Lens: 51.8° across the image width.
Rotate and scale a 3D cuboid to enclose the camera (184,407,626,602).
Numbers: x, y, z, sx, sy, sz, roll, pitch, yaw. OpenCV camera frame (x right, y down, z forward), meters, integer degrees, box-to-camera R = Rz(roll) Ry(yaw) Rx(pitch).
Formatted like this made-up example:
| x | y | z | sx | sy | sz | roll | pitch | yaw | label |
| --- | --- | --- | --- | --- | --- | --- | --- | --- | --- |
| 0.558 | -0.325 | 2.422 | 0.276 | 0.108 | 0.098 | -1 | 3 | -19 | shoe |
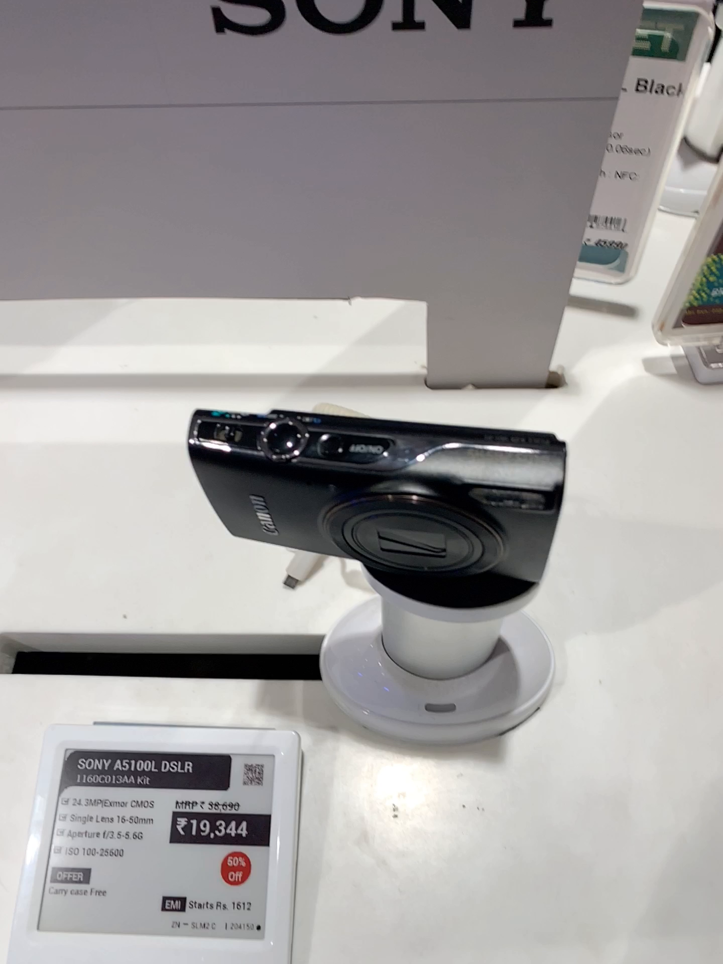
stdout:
| x | y | z | sx | sy | sz | roll | pitch | yaw | label |
| --- | --- | --- | --- | --- | --- | --- | --- | --- | --- |
| 0.010 | 0.007 | 0.194 | 0.100 | 0.050 | 0.020 | 5 | 59 | 5 | camera |
